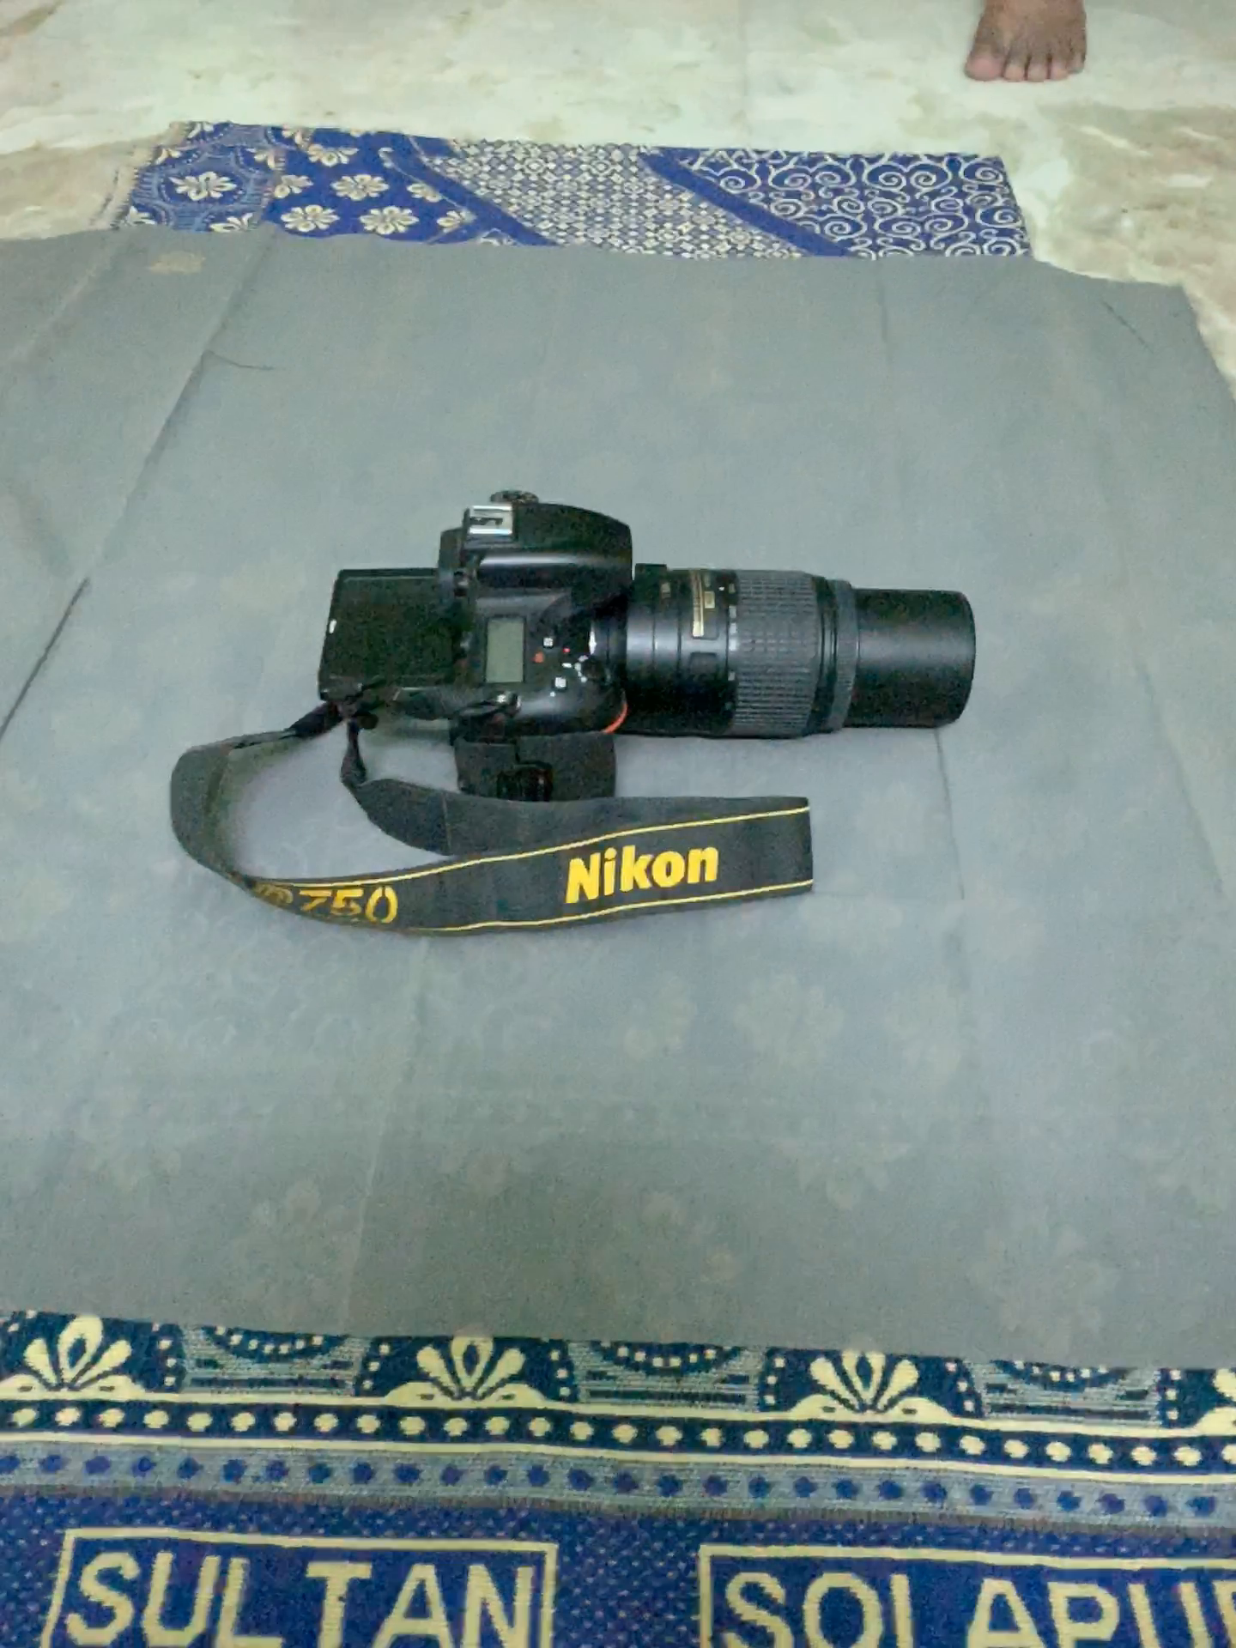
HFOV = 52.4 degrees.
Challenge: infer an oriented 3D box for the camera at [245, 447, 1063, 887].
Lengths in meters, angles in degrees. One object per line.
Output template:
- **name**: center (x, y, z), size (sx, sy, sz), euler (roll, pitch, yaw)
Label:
- **camera**: center (0.013, -0.068, 0.531), size (0.288, 0.110, 0.147), euler (1, 50, 1)
